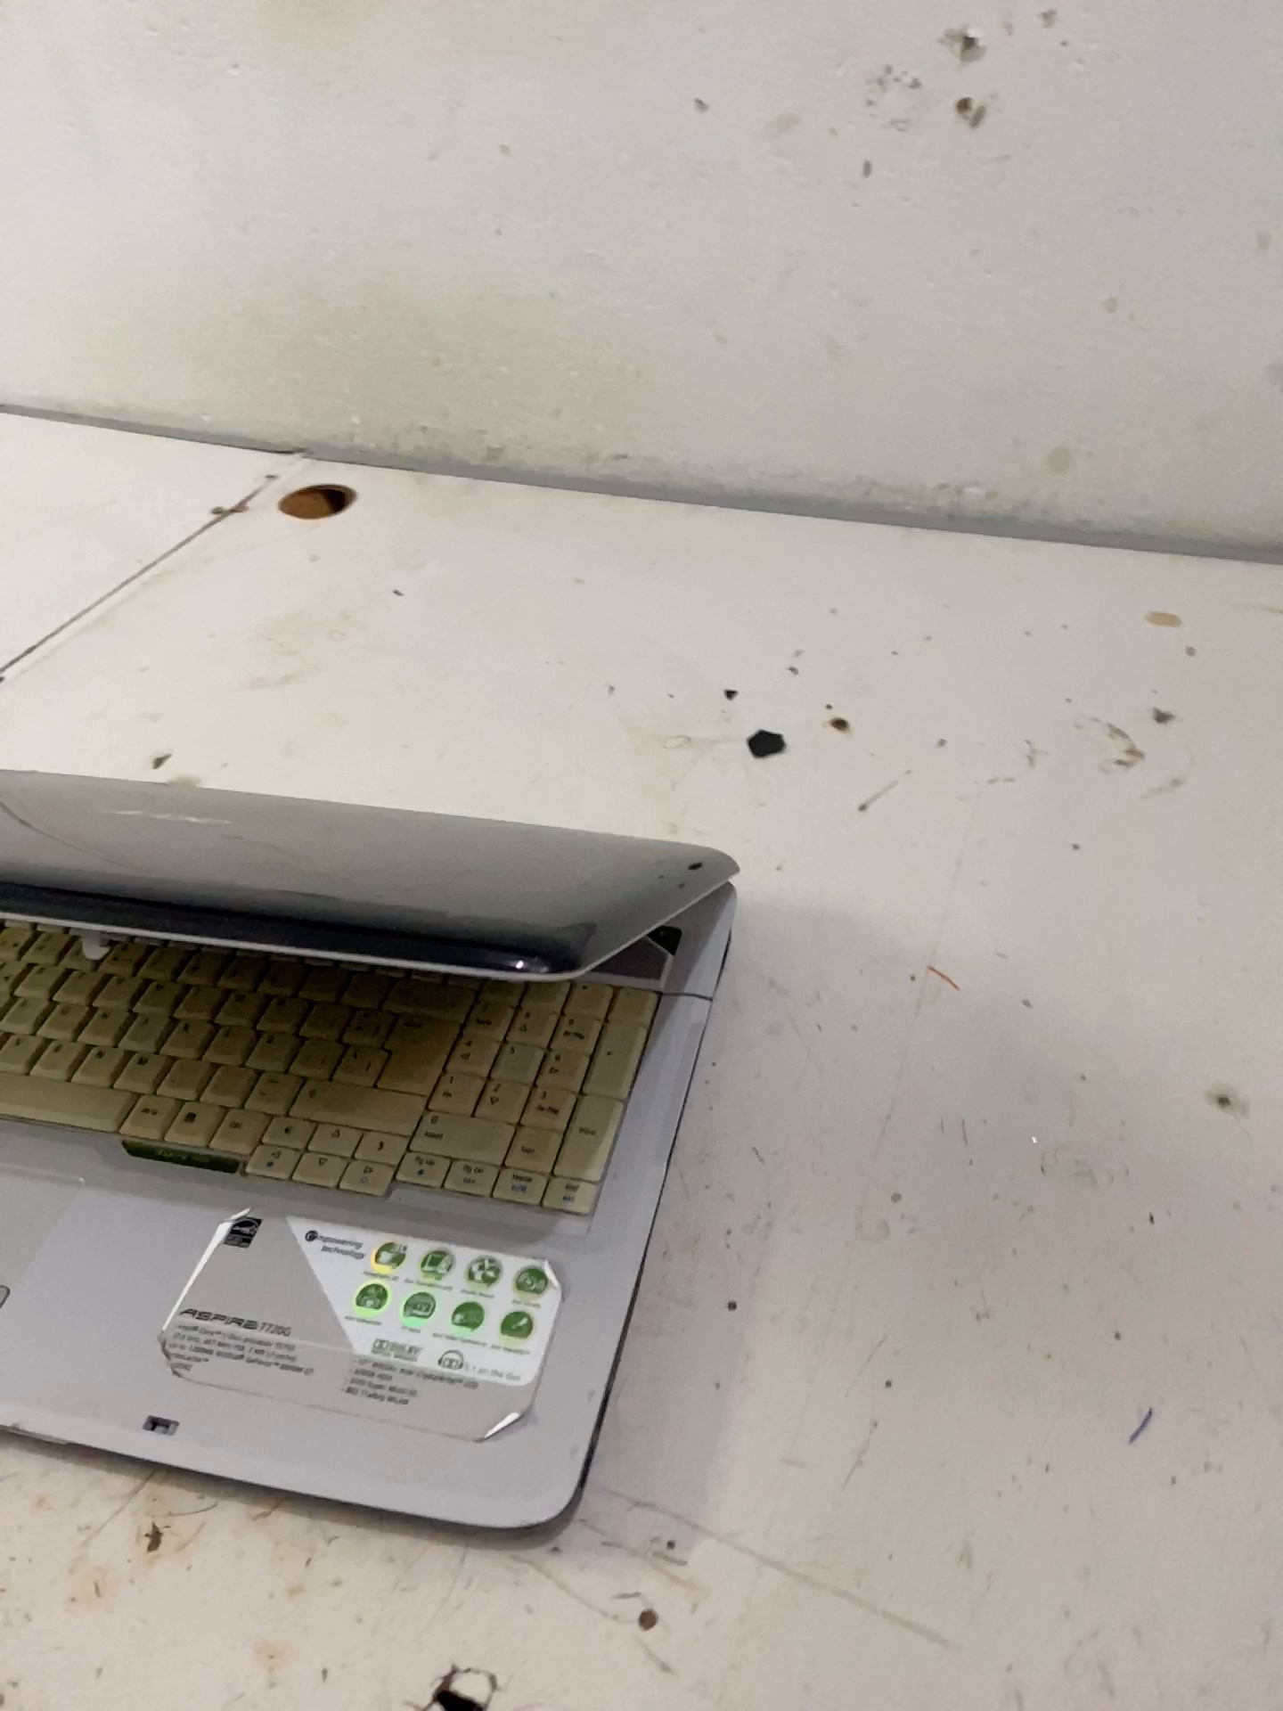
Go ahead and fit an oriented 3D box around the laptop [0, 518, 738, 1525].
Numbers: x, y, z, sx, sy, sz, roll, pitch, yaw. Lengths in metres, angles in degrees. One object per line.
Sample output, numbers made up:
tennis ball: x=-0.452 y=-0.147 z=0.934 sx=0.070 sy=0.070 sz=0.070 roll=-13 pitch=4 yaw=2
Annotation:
laptop: x=-0.182 y=0.022 z=0.471 sx=0.380 sy=0.164 sz=0.279 roll=6 pitch=41 yaw=14
